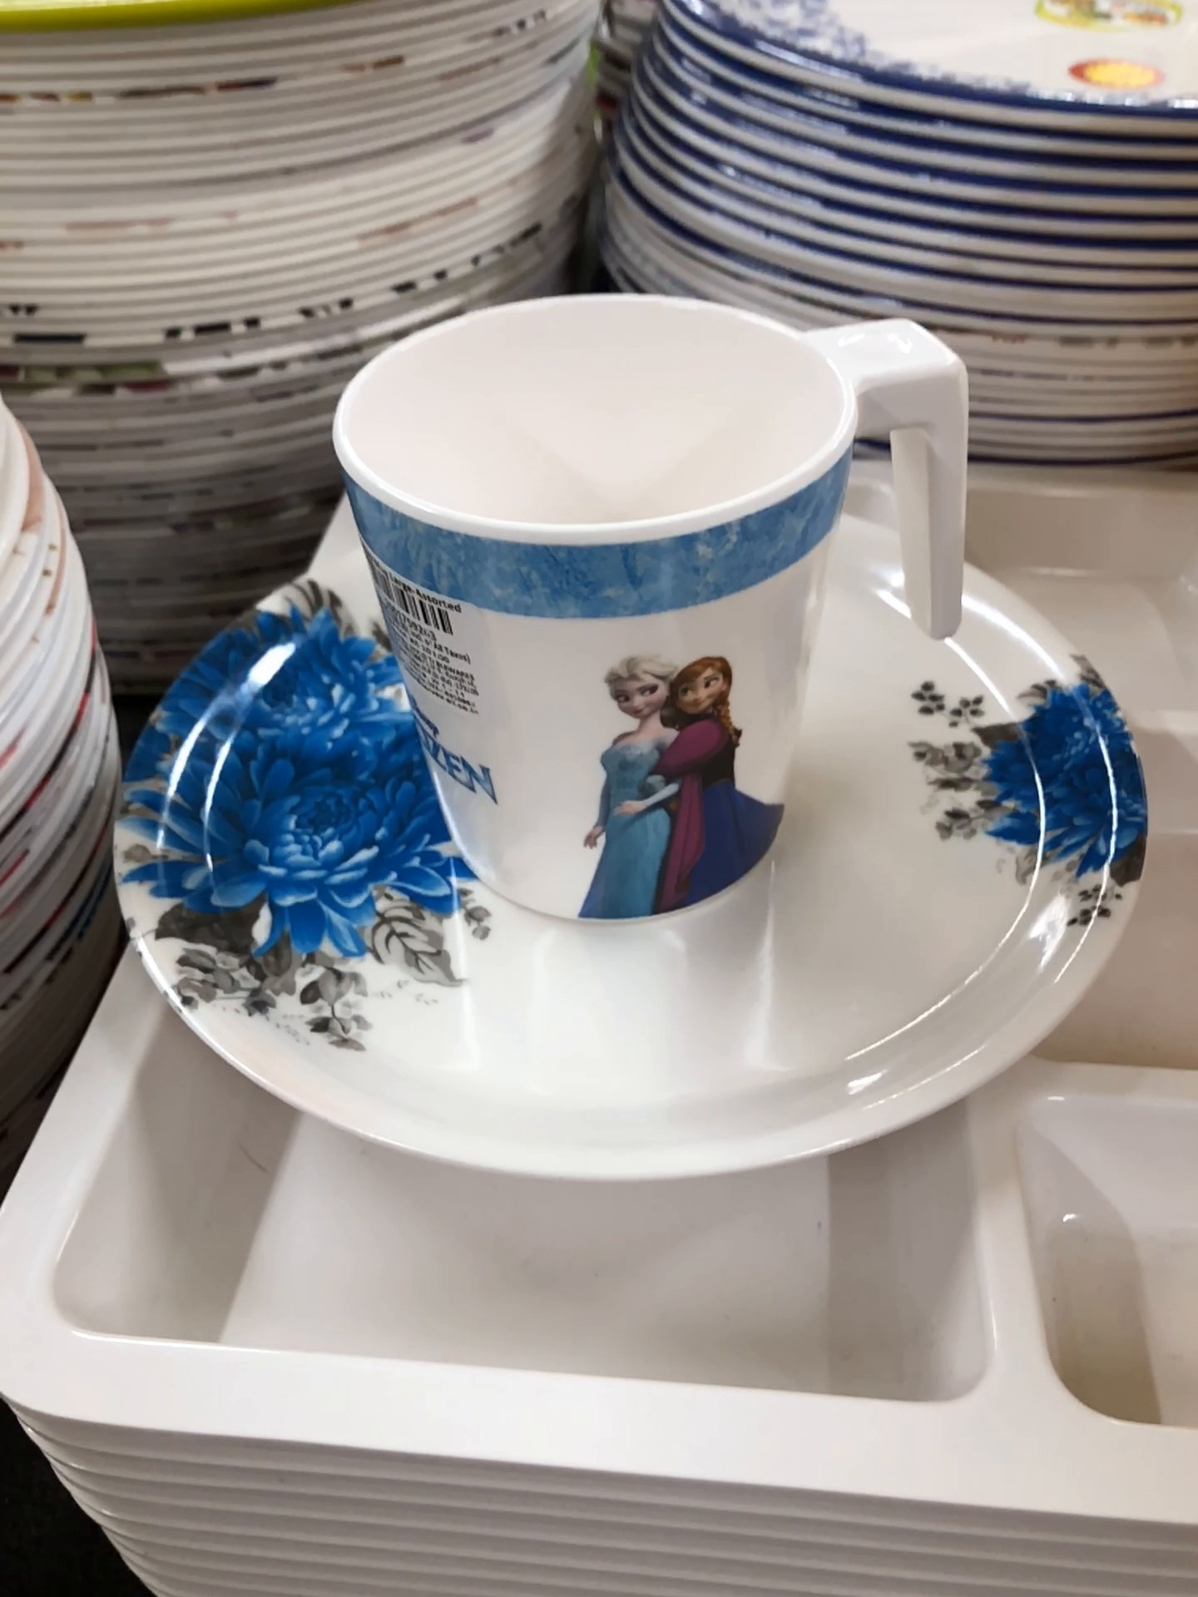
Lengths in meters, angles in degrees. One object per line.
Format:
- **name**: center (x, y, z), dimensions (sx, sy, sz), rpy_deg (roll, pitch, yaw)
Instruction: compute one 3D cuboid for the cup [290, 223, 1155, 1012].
- **cup**: center (0.013, -0.033, 0.231), dimensions (0.110, 0.089, 0.080), rpy_deg (-10, 44, -9)
